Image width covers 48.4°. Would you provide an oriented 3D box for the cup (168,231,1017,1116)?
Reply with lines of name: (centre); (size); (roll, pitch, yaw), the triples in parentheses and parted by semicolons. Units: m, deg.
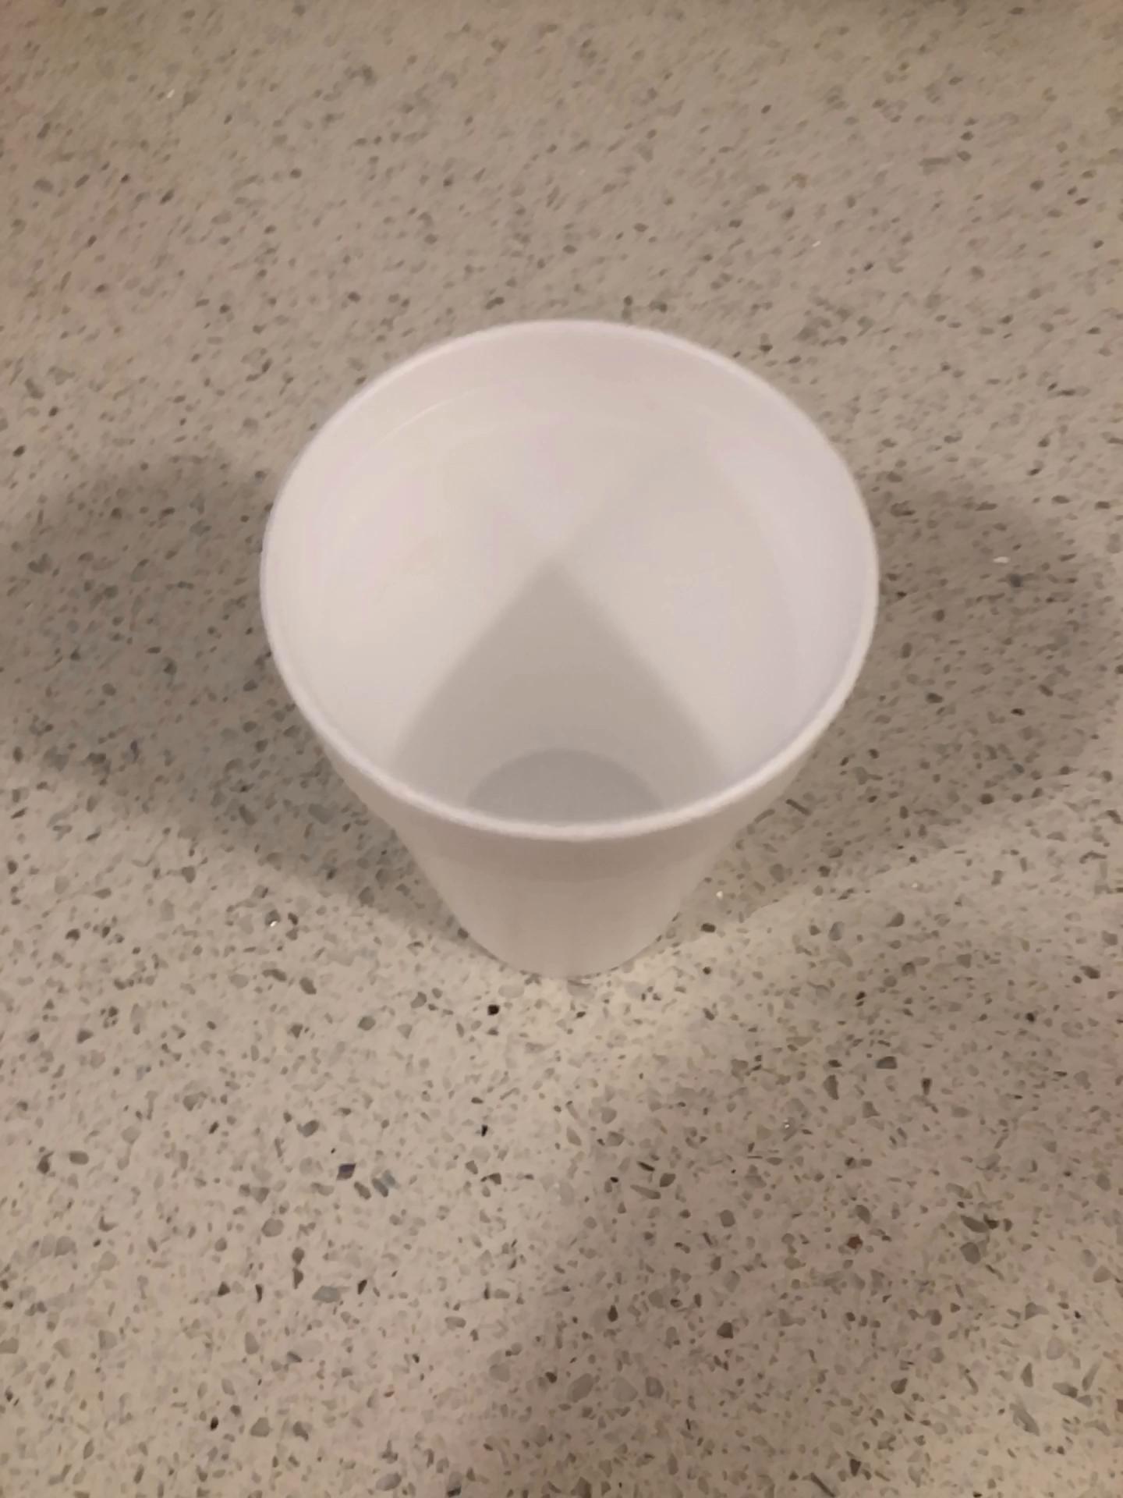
cup: (0.002, -0.004, 0.229); (0.088, 0.119, 0.090); (0, 65, 0)
